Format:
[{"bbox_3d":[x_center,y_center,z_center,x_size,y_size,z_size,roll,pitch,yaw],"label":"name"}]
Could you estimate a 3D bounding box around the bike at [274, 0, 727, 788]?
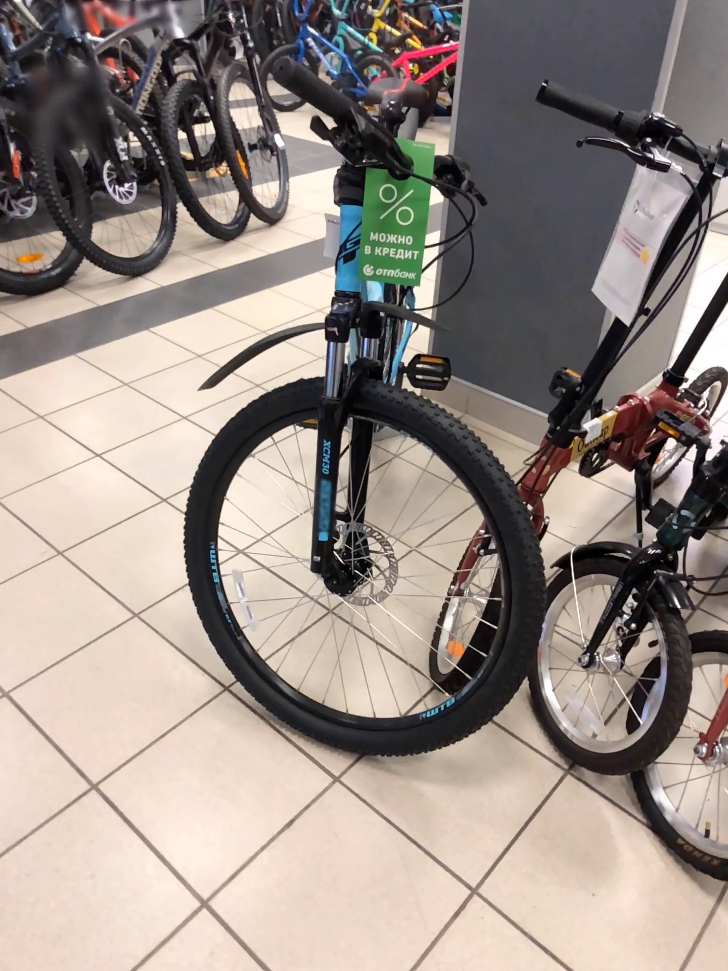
[{"bbox_3d":[0.169,-0.383,1.825,0.691,1.084,1.620,-1,35,-6],"label":"bike"}]
